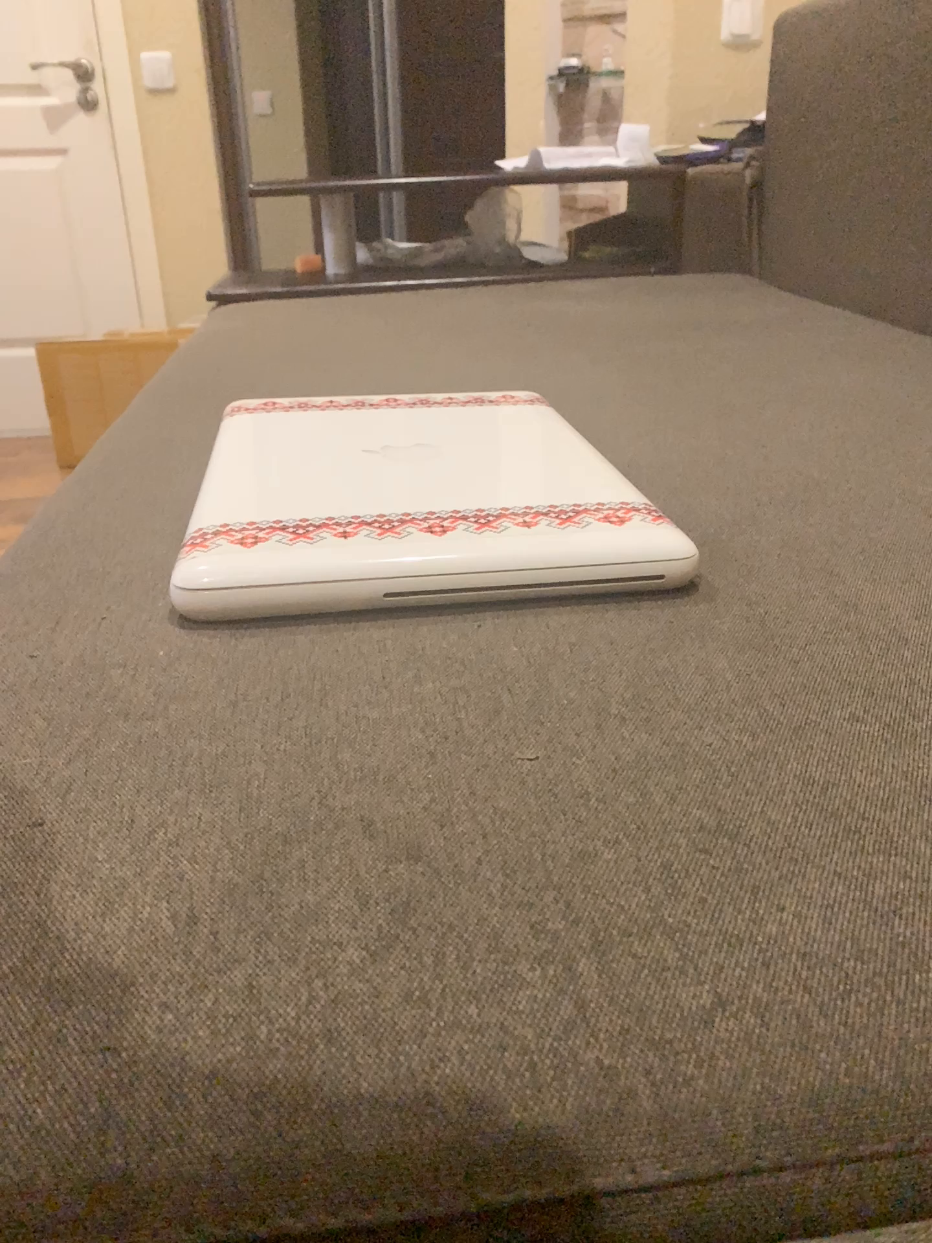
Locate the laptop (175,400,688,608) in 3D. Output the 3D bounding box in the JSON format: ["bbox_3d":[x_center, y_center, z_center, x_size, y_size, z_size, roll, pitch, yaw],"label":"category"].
[{"bbox_3d":[-0.040,-0.085,0.559,0.221,0.003,0.327,-6,26,-8],"label":"laptop"}]
